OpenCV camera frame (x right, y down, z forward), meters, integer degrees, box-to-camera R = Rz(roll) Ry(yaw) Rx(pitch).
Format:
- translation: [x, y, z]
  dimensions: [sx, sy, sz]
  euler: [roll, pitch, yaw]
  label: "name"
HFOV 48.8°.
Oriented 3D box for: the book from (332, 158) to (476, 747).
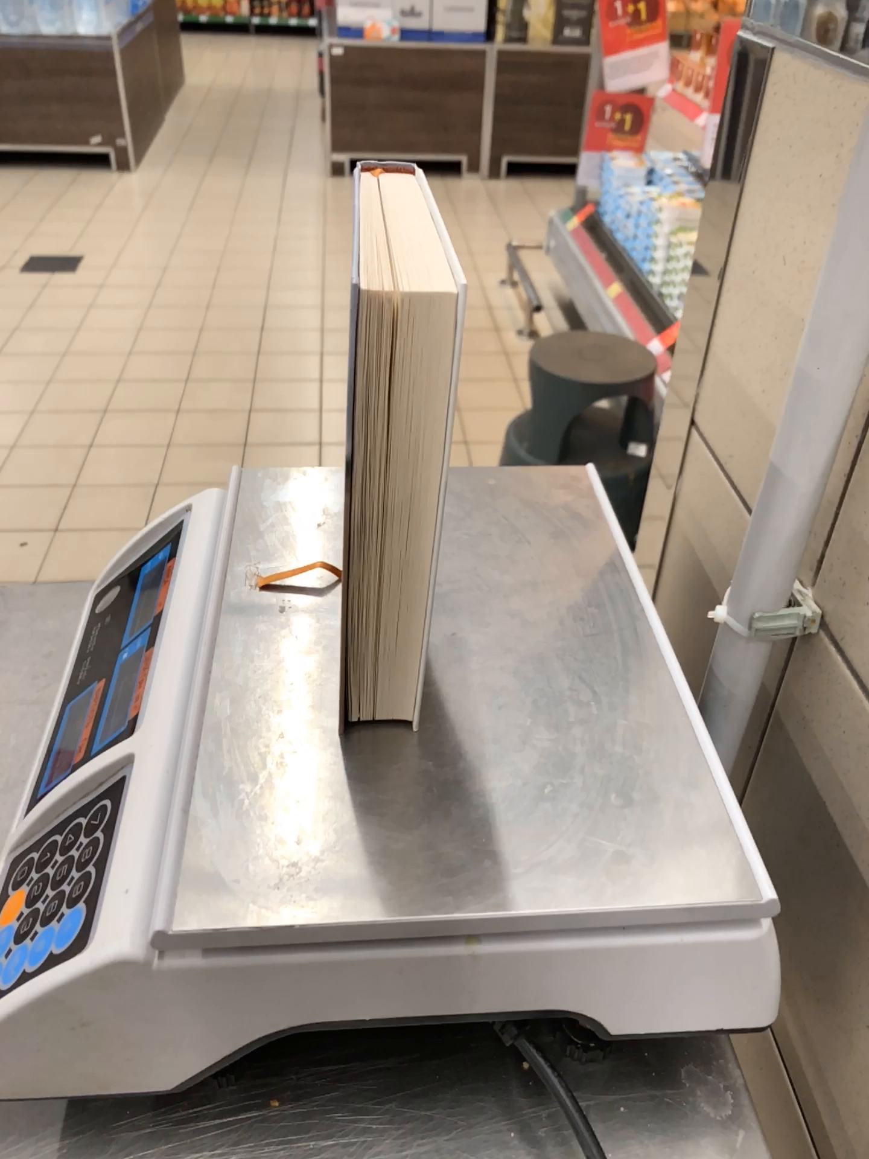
- translation: [-0.020, -0.050, 0.379]
  dimensions: [0.037, 0.186, 0.138]
  euler: [1, 36, -7]
  label: "book"
